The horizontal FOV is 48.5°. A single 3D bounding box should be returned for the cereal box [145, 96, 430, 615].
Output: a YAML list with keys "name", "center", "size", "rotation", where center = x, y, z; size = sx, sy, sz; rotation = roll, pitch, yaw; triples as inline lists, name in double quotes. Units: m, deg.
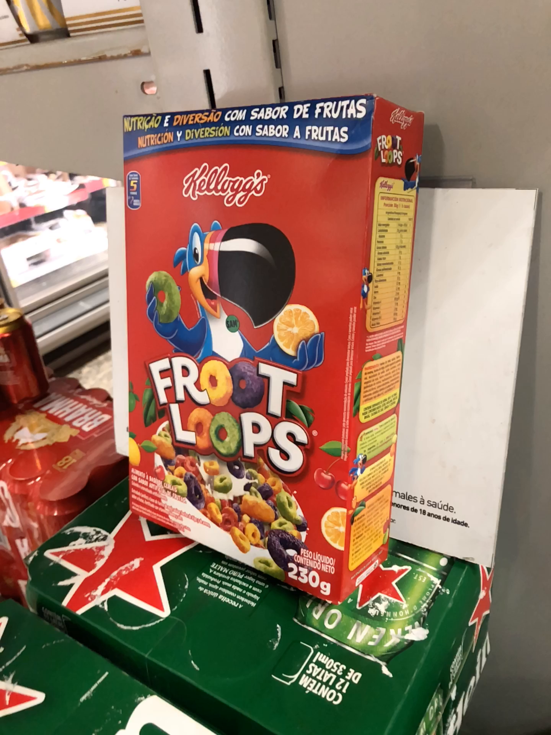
- name: "cereal box"
  center: [-0.003, -0.012, 0.366]
  size: [0.150, 0.259, 0.060]
  rotation: [11, 15, 35]
